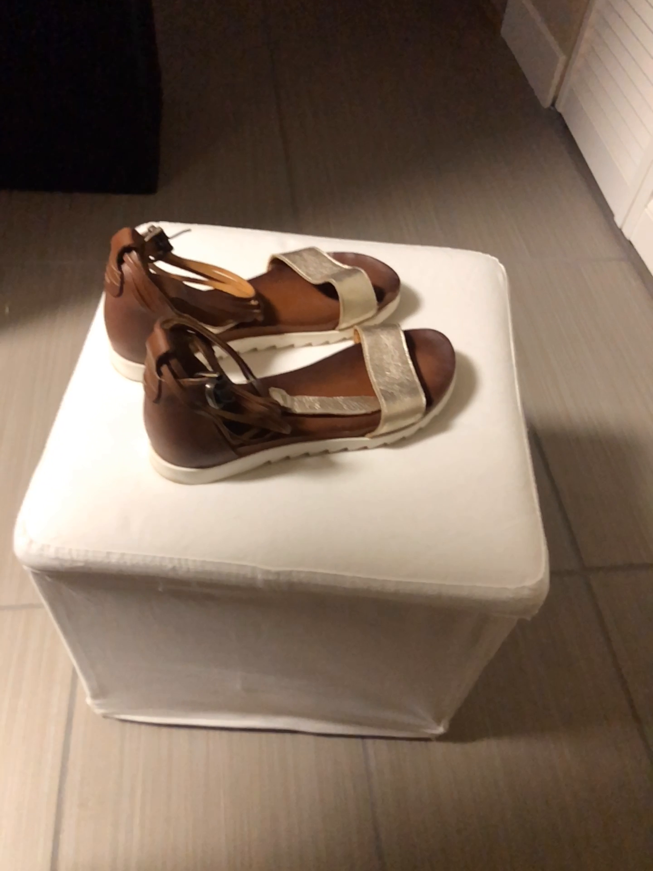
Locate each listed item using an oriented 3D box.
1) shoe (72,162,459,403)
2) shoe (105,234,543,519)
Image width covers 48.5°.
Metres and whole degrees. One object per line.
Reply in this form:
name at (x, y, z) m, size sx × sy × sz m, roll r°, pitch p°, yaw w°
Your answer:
shoe at (-0.046, -0.125, 0.566) m, size 0.260 × 0.090 × 0.110 m, roll -15°, pitch 55°, yaw -17°
shoe at (-0.003, -0.048, 0.501) m, size 0.260 × 0.090 × 0.110 m, roll -15°, pitch 55°, yaw -17°
